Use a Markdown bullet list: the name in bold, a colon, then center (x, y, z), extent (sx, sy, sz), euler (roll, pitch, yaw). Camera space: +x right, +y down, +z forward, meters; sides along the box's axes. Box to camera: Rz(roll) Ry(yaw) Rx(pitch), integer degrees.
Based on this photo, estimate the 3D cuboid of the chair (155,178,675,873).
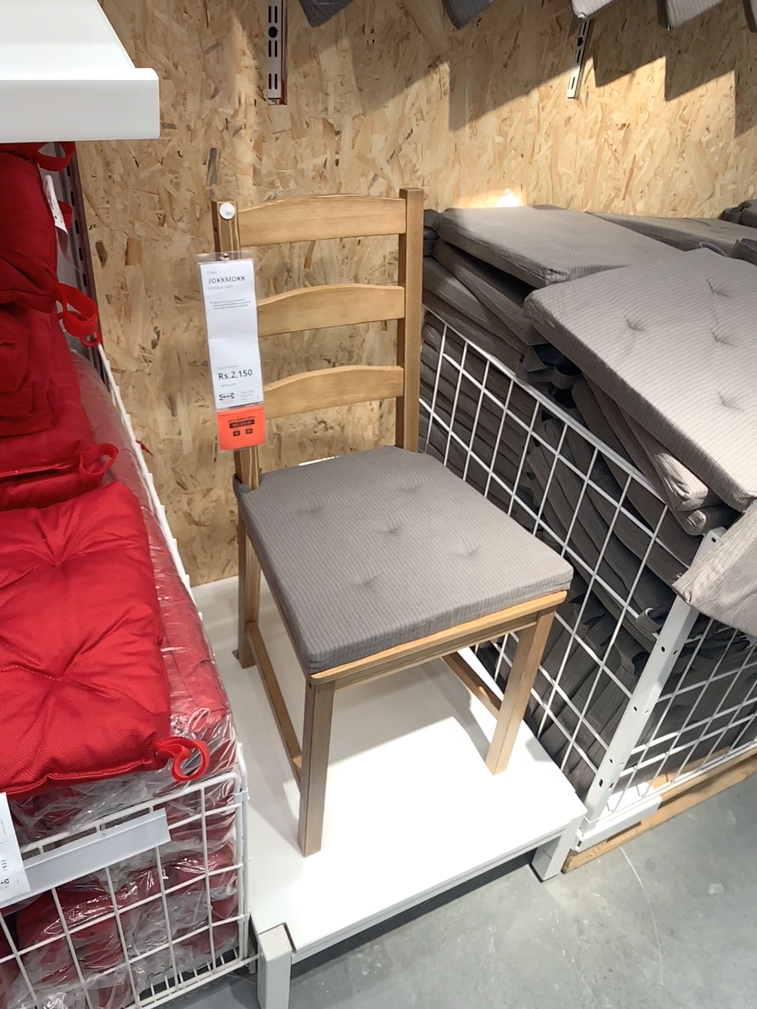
- **chair**: center (-0.019, 0.033, 1.194), extent (0.440, 0.866, 0.502), euler (-14, 42, -24)
